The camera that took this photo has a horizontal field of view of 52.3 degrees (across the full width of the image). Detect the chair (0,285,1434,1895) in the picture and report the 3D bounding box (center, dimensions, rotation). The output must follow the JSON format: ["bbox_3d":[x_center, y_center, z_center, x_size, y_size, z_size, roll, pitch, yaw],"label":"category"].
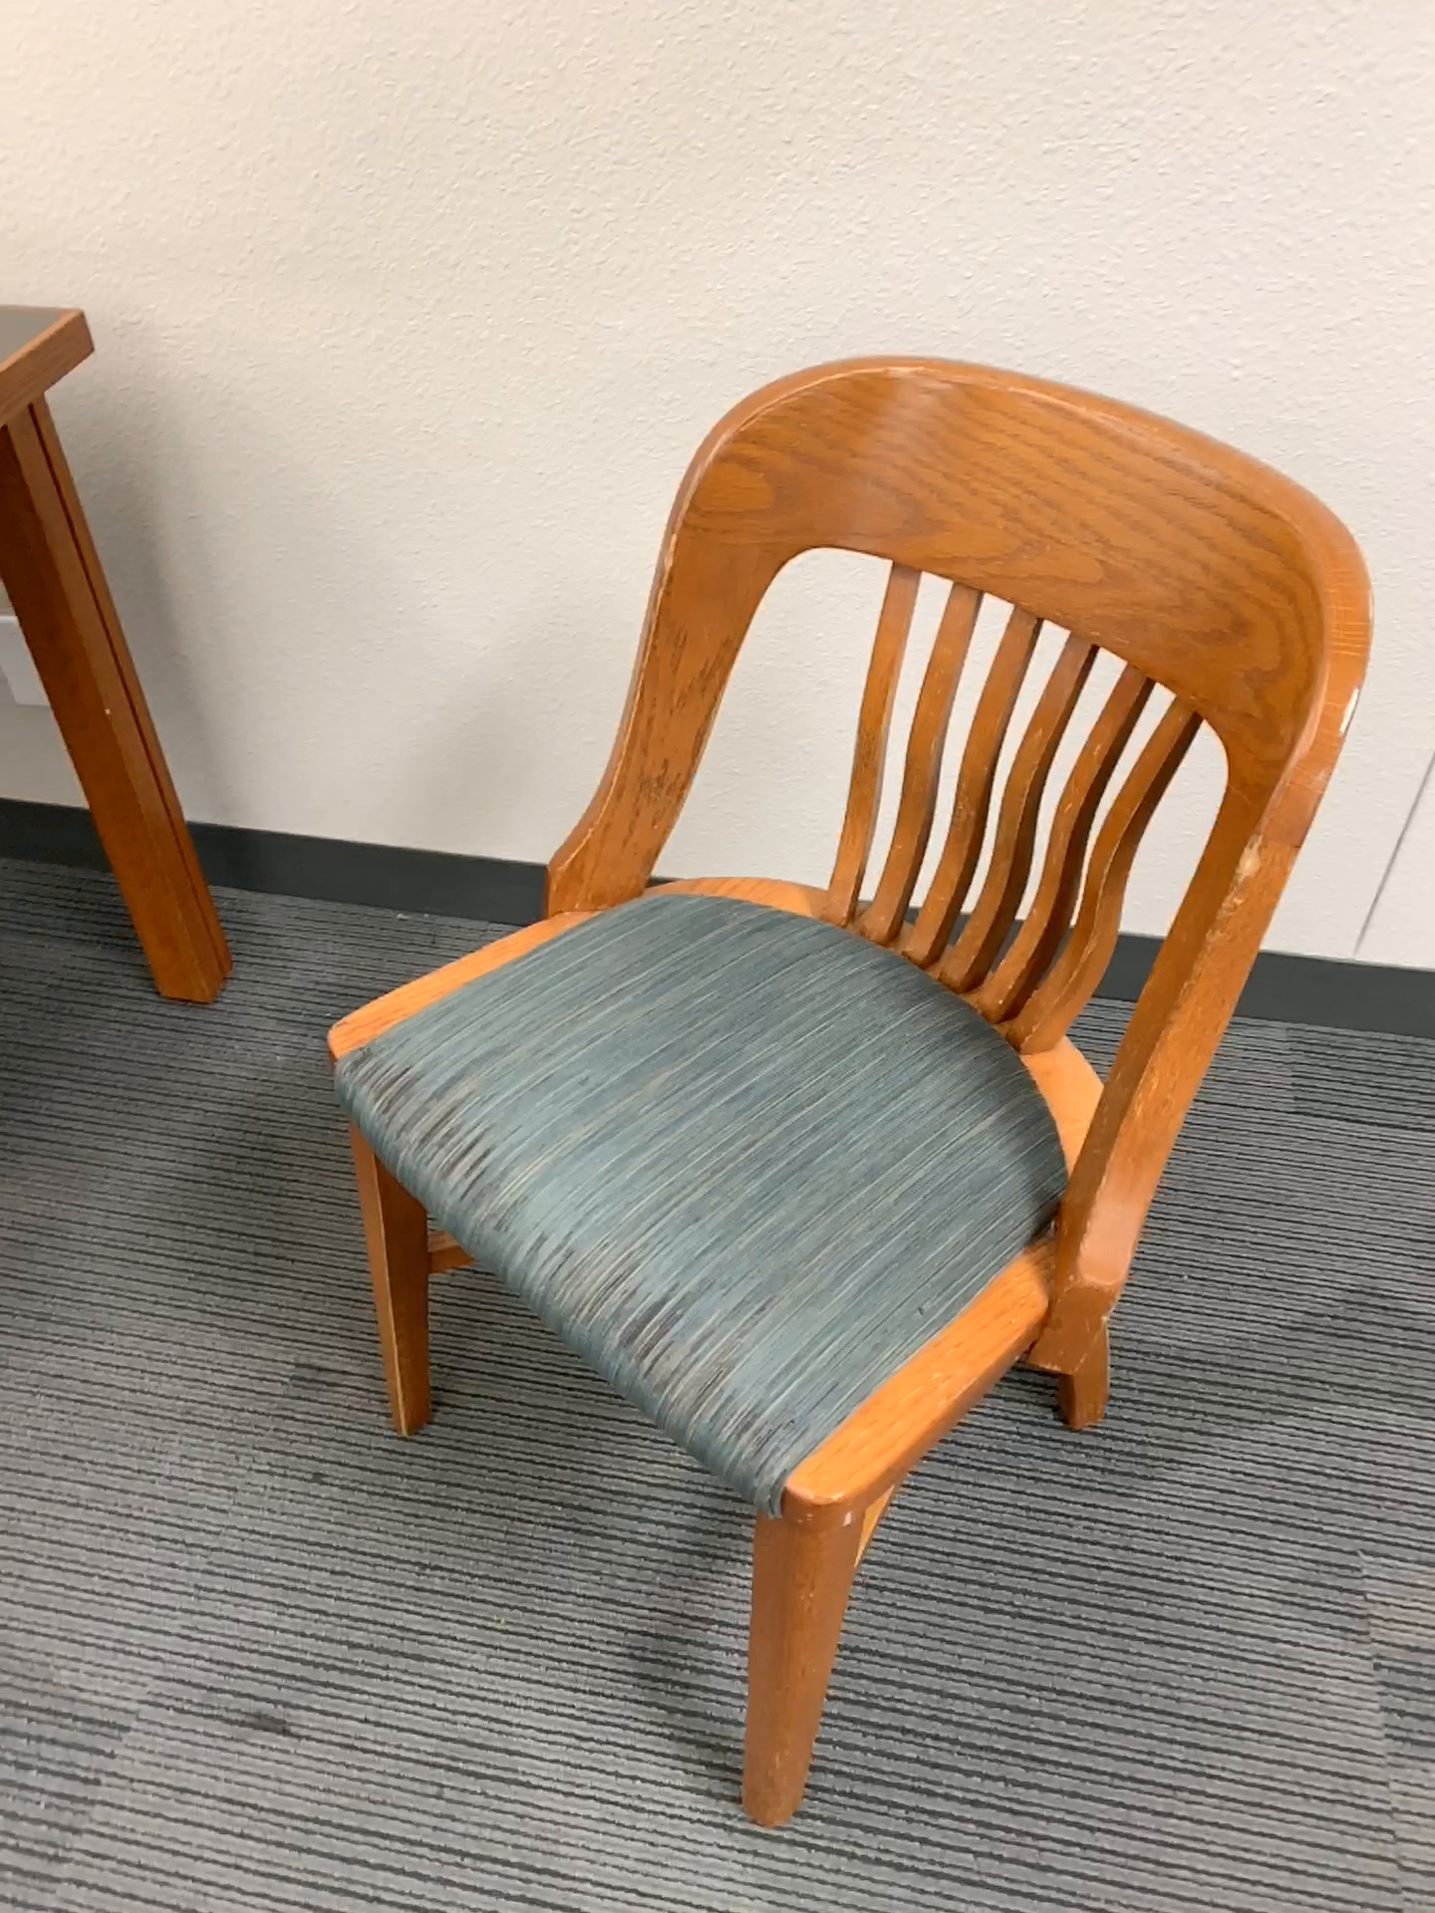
[{"bbox_3d":[0.041,0.068,1.018,0.621,0.747,0.551,-34,53,-30],"label":"chair"}]
